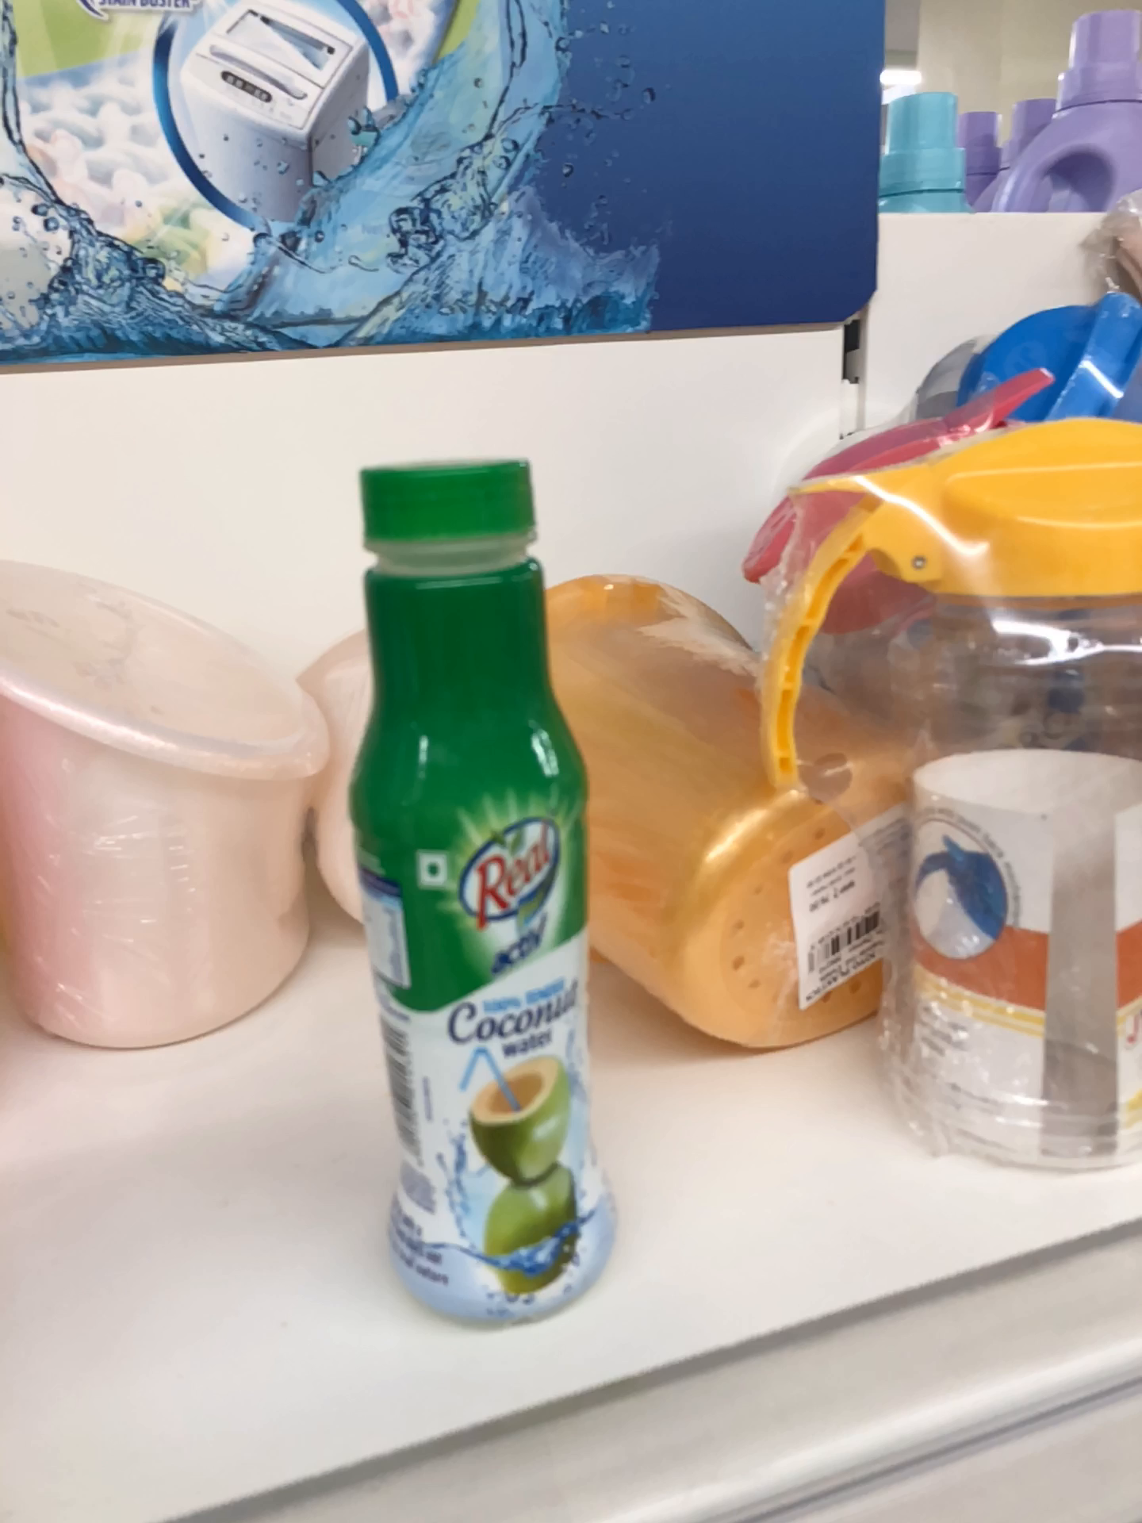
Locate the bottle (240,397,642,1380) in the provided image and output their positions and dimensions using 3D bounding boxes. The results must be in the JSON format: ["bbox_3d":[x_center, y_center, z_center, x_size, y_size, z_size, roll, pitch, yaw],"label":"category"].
[{"bbox_3d":[-0.023,0.023,0.248,0.050,0.179,0.050,-2,18,1],"label":"bottle"}]
